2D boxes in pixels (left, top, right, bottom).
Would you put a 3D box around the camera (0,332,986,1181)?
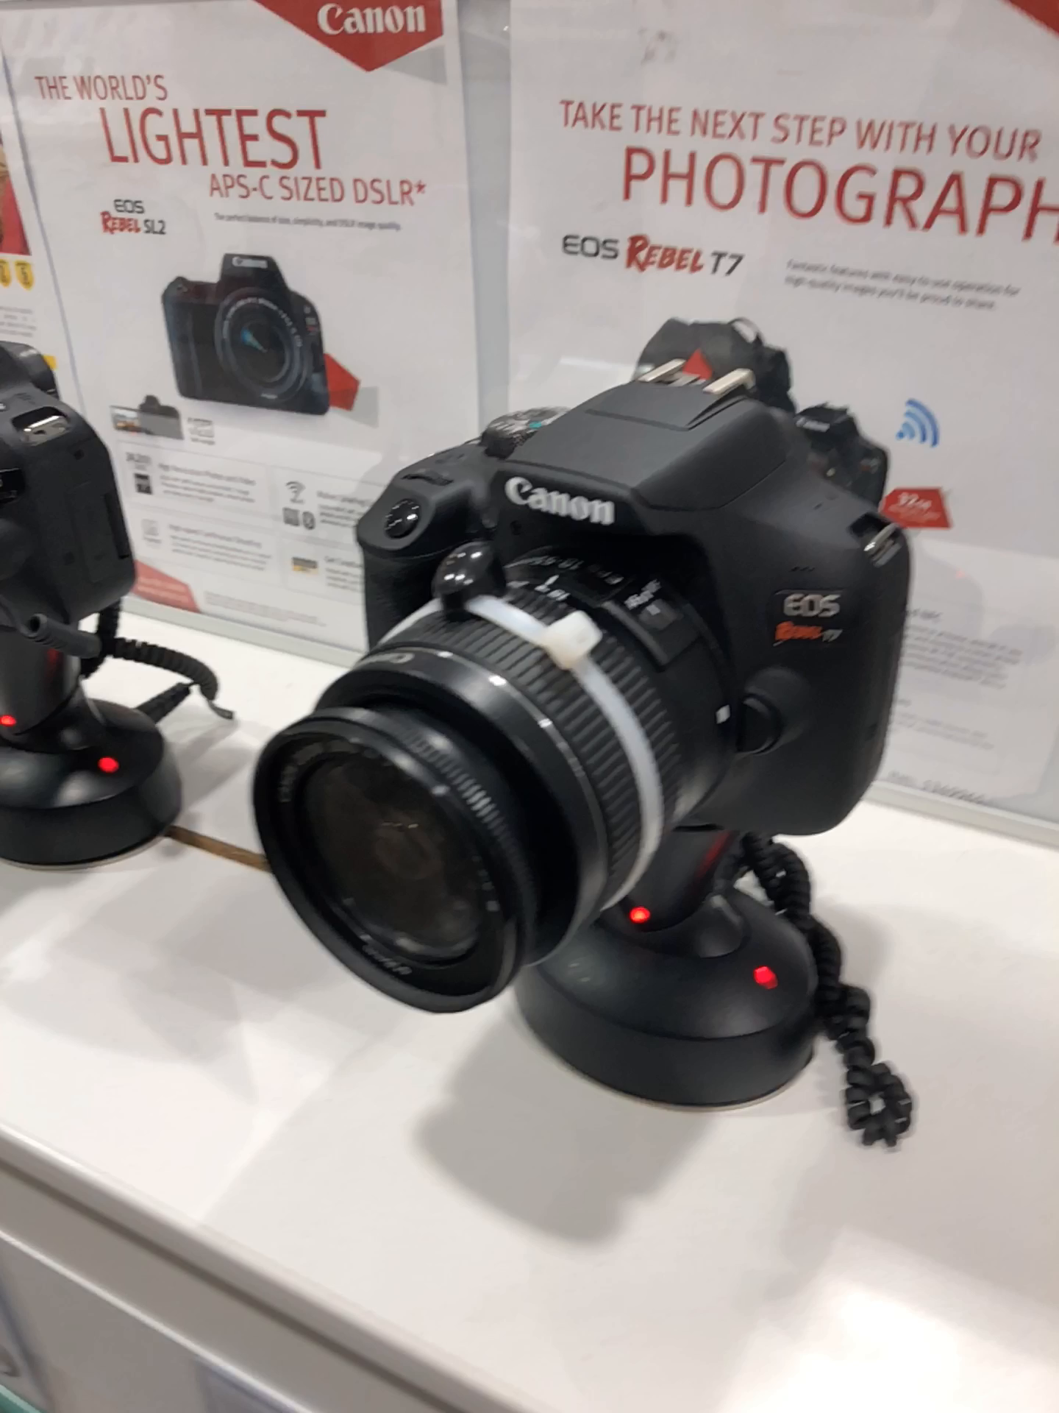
[{"bbox_3d":[0.001,-0.012,0.257,0.140,0.090,0.150,17,35,28],"label":"camera"}]
